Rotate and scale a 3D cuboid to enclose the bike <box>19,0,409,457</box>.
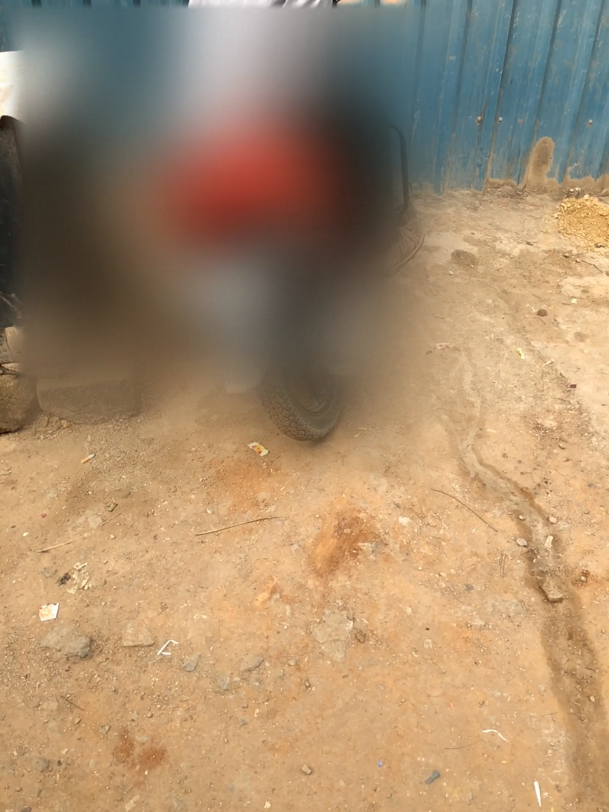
[{"bbox_3d":[-0.108,-0.932,2.178,0.734,1.129,1.642,6,39,6],"label":"bike"}]
